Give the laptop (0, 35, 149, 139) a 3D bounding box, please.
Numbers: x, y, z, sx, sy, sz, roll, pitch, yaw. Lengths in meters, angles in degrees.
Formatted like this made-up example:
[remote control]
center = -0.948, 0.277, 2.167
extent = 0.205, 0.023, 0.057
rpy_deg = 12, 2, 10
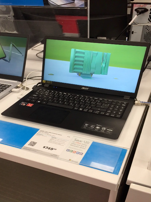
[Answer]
[laptop]
center = 0.001, -0.071, 0.658
extent = 0.380, 0.192, 0.296
rpy_deg = 12, 39, 17
